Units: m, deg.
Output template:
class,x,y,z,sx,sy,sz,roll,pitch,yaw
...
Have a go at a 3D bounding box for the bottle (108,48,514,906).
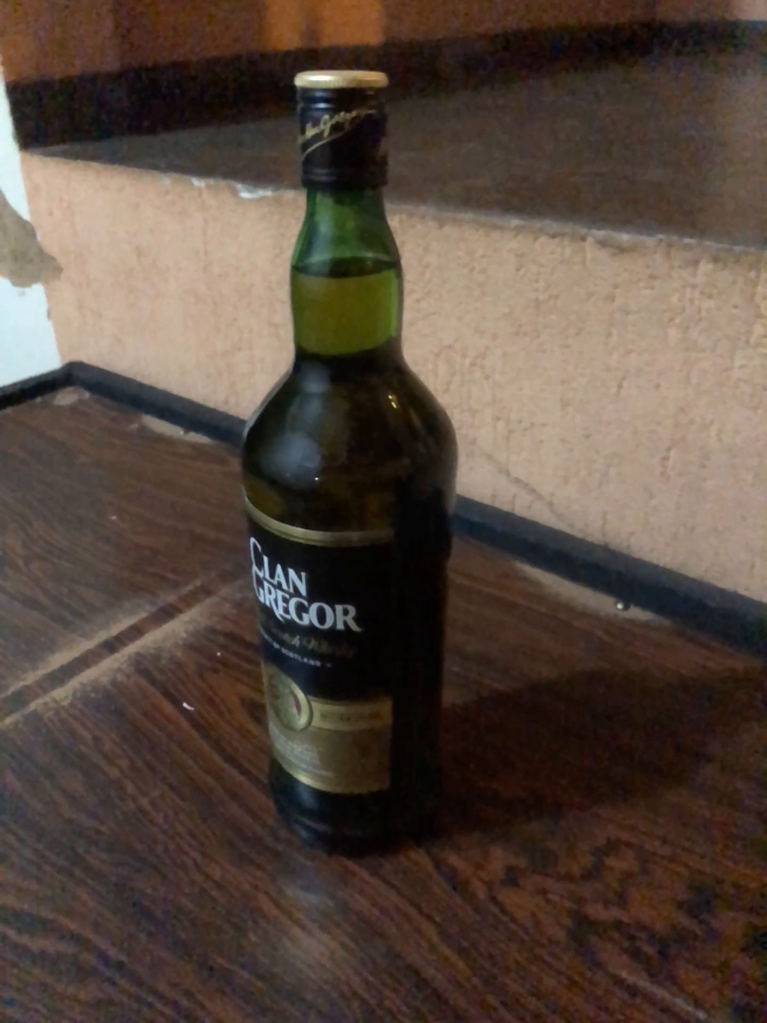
class,x,y,z,sx,sy,sz,roll,pitch,yaw
bottle,-0.017,0.000,0.329,0.080,0.308,0.090,-27,38,-35
